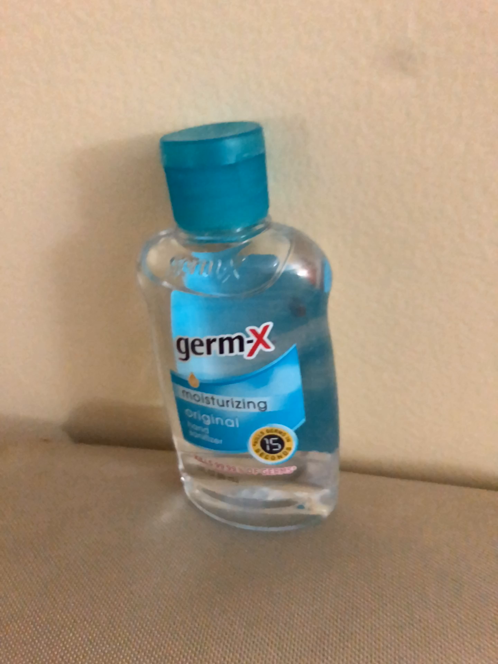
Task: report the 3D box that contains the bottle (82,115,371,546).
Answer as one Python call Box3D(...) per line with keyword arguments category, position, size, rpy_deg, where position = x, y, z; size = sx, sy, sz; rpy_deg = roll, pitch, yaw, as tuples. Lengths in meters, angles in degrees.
Box3D(category="bottle", position=(-0.001, 0.002, 0.155), size=(0.060, 0.110, 0.030), rpy_deg=(4, 28, 15))
